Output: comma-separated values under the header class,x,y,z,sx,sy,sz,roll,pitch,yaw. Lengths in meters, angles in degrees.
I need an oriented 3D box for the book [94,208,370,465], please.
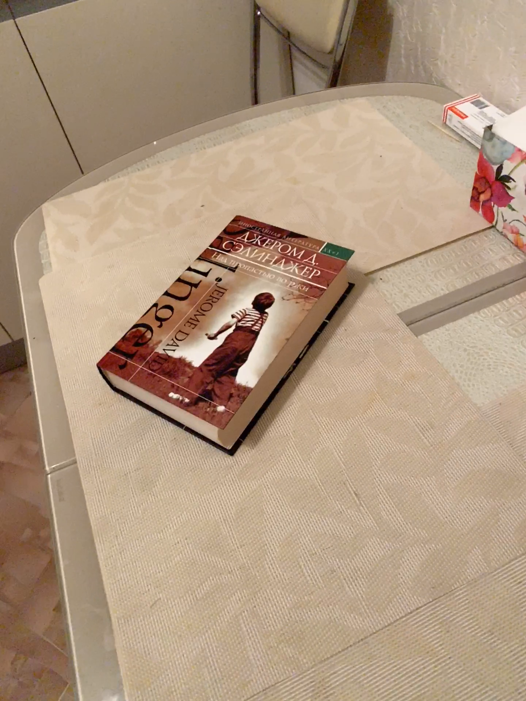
class,x,y,z,sx,sy,sz,roll,pitch,yaw
book,-0.020,-0.028,0.498,0.150,0.049,0.221,23,61,26
